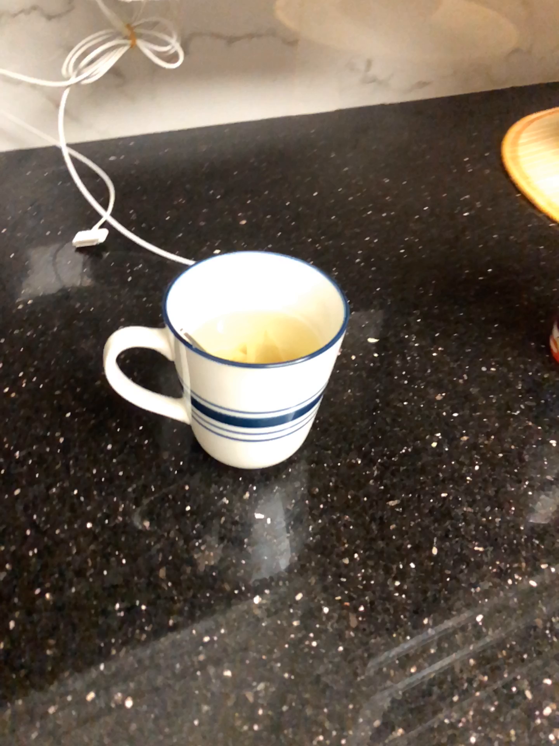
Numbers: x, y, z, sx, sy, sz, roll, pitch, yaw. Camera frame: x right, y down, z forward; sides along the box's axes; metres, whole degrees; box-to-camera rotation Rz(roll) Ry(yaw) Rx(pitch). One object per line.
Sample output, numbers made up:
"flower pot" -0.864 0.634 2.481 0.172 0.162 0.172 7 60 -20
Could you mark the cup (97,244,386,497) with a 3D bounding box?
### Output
"cup" -0.023 -0.002 0.313 0.120 0.090 0.080 -4 46 -10
